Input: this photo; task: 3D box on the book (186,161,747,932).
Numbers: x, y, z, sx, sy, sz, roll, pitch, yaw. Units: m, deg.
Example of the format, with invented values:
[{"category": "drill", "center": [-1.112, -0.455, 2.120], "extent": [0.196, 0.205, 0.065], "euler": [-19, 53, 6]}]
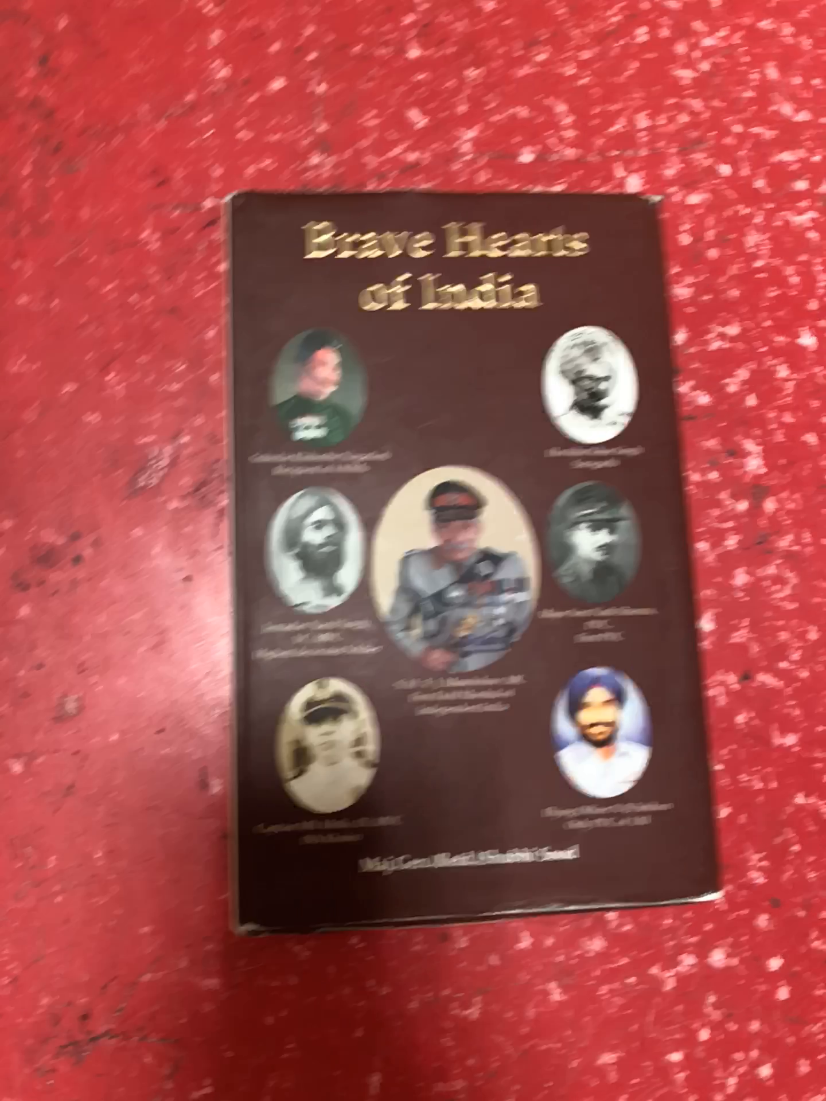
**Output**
[{"category": "book", "center": [0.011, -0.008, 0.280], "extent": [0.150, 0.030, 0.220], "euler": [-2, 80, -4]}]
